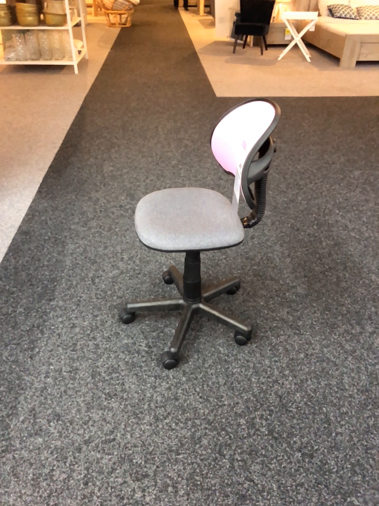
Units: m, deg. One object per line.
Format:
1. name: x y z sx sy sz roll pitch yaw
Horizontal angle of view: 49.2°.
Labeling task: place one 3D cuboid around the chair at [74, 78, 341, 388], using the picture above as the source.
1. chair: -0.003 -0.109 1.414 0.601 0.775 0.602 -10 35 -16
